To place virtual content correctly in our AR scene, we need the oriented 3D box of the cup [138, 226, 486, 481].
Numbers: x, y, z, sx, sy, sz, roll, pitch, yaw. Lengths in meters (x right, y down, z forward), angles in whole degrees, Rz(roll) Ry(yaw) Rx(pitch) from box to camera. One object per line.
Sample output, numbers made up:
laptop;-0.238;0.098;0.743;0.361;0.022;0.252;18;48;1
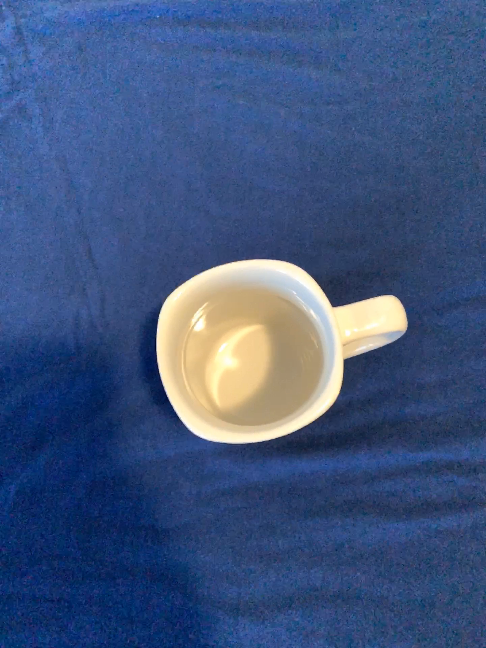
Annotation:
cup;0.025;0.021;0.225;0.110;0.090;0.070;-13;73;1
